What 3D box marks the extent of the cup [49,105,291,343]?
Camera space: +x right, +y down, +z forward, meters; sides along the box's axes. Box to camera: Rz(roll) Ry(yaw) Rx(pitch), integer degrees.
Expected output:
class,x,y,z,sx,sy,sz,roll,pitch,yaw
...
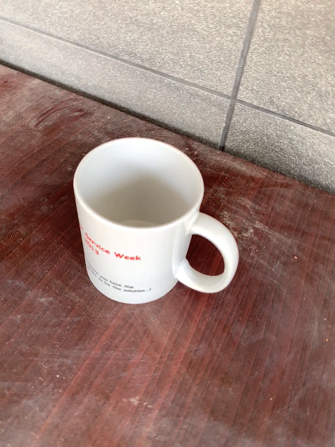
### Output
class,x,y,z,sx,sy,sz,roll,pitch,yaw
cup,0.002,0.000,0.246,0.120,0.100,0.090,23,52,13
